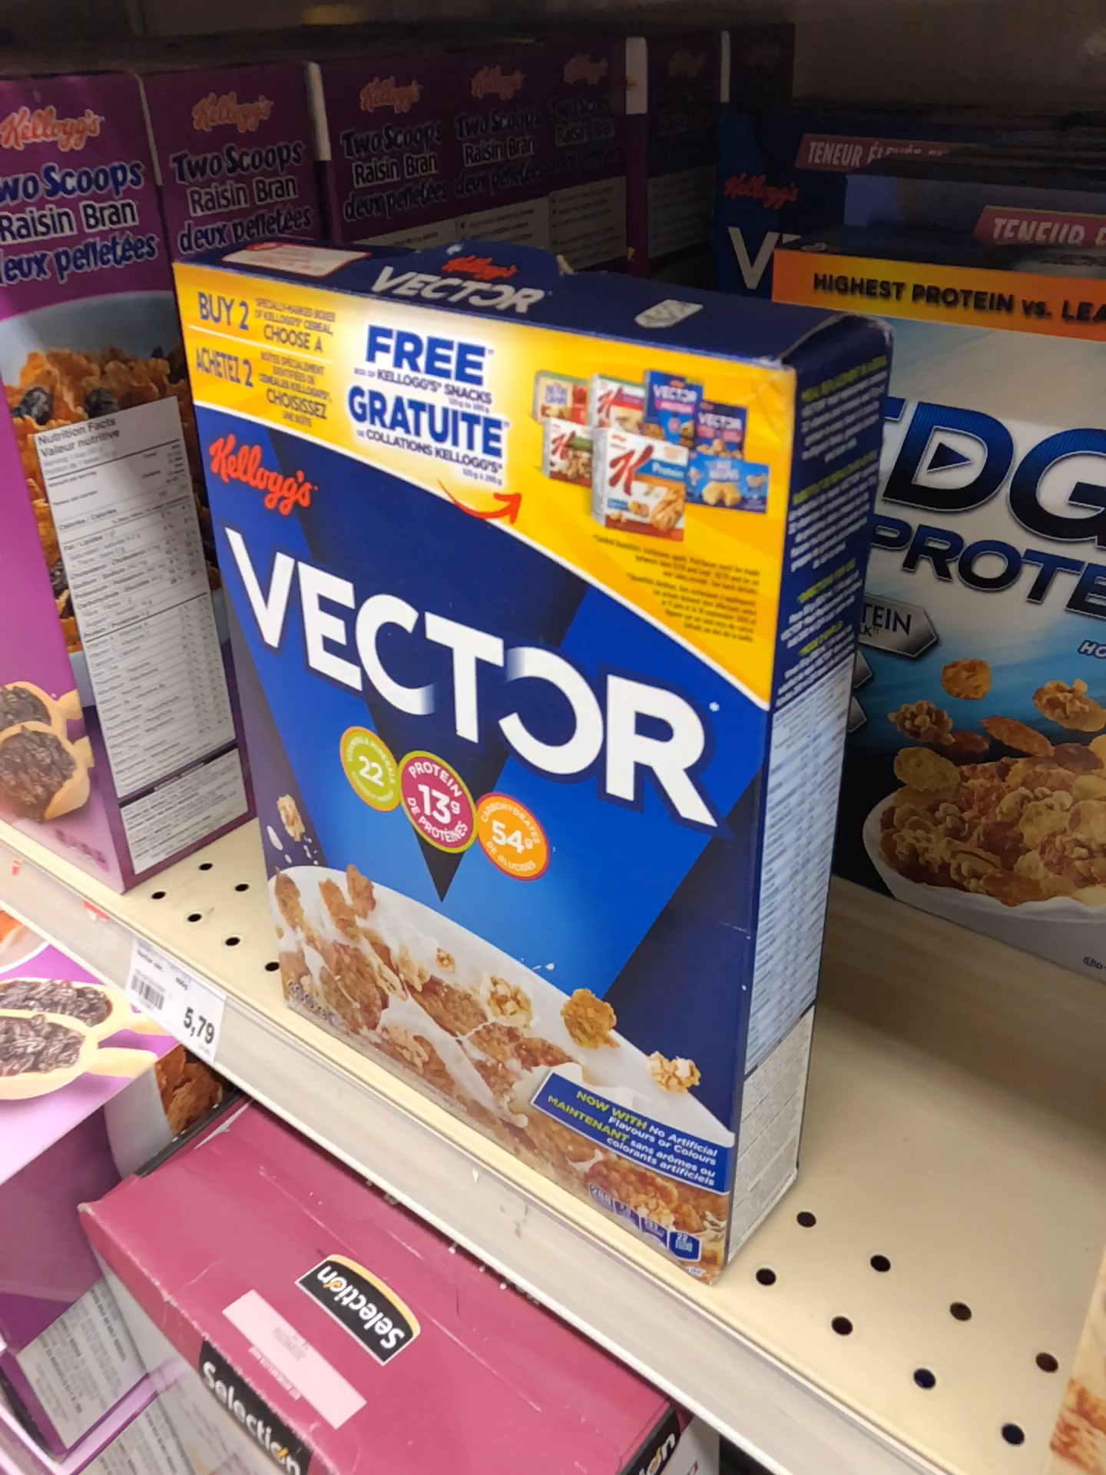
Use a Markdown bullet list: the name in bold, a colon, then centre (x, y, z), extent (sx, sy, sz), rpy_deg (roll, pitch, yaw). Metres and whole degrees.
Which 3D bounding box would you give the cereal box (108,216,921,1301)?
- **cereal box**: centre (-0.016, 0.004, 0.357), extent (0.201, 0.268, 0.060), rpy_deg (22, 39, 34)
